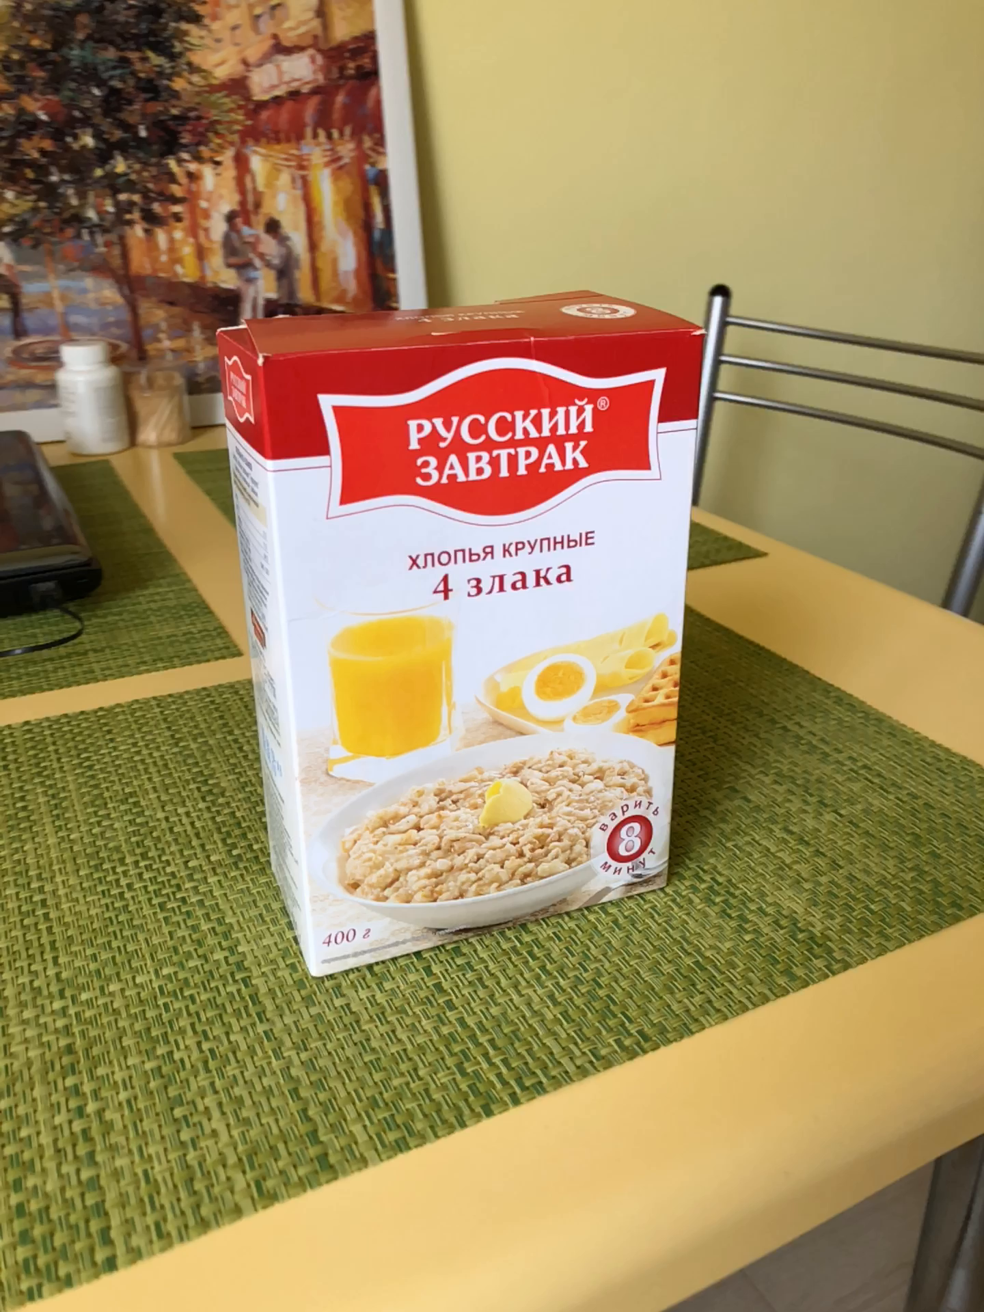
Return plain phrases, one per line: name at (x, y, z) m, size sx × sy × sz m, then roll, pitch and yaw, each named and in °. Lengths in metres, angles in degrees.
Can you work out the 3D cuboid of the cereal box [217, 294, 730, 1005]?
cereal box at (-0.008, -0.007, 0.348) m, size 0.130 × 0.199 × 0.070 m, roll -9°, pitch 25°, yaw -21°
